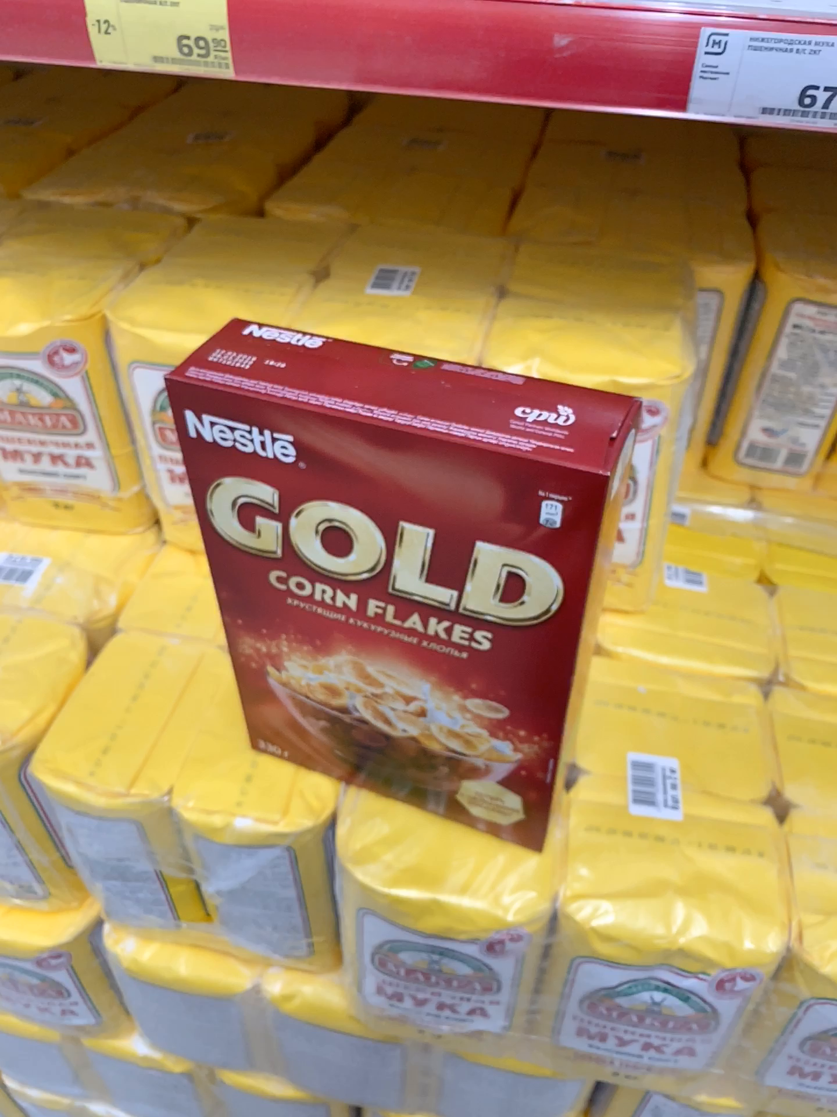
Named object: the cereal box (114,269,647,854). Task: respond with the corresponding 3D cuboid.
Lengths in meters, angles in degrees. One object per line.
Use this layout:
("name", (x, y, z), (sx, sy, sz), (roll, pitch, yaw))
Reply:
("cereal box", (-0.019, 0.018, 0.459), (0.210, 0.287, 0.071), (16, 45, 15))
